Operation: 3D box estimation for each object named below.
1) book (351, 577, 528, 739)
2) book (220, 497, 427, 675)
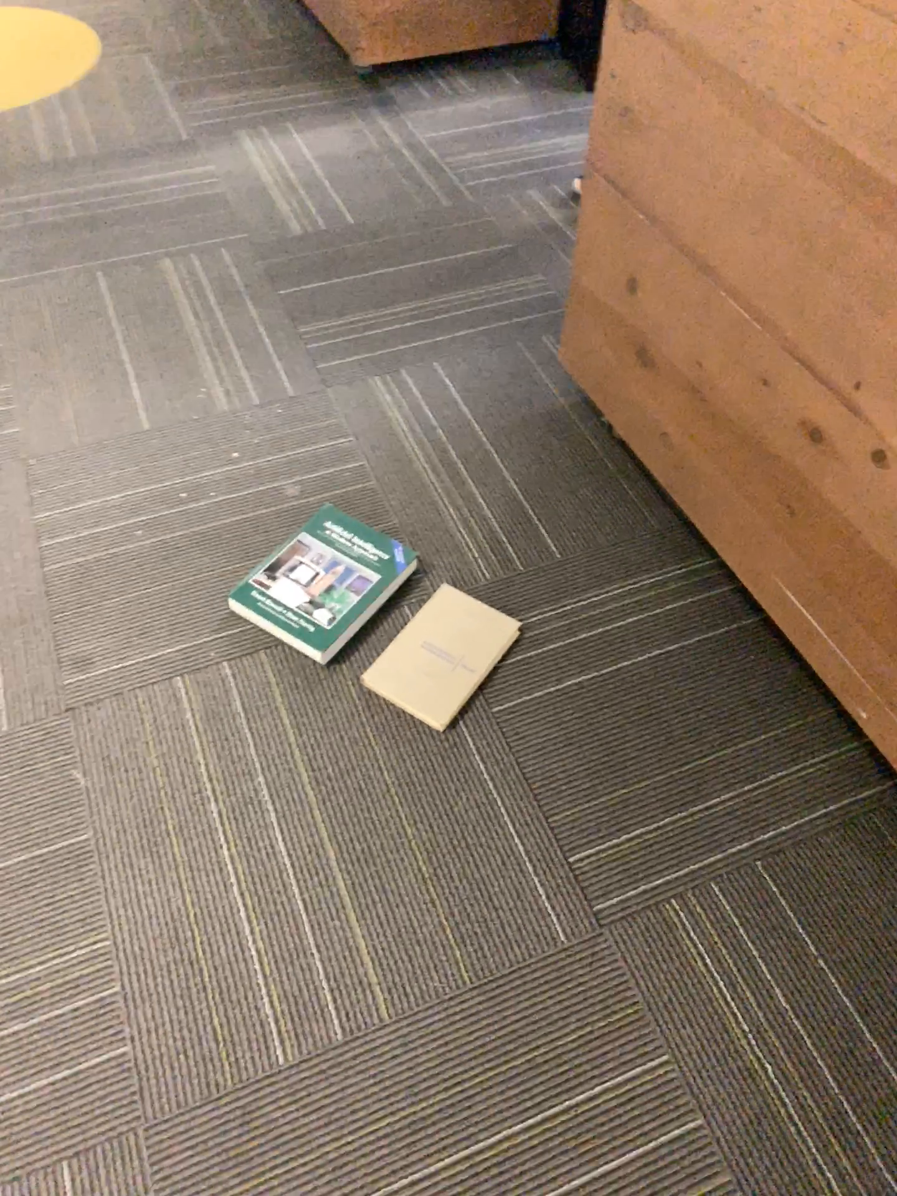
[{"bbox_3d":[-0.012,0.088,1.457,0.170,0.023,0.246,28,56,20],"label":"book"},{"bbox_3d":[-0.205,-0.029,1.542,0.221,0.050,0.271,28,56,20],"label":"book"}]
